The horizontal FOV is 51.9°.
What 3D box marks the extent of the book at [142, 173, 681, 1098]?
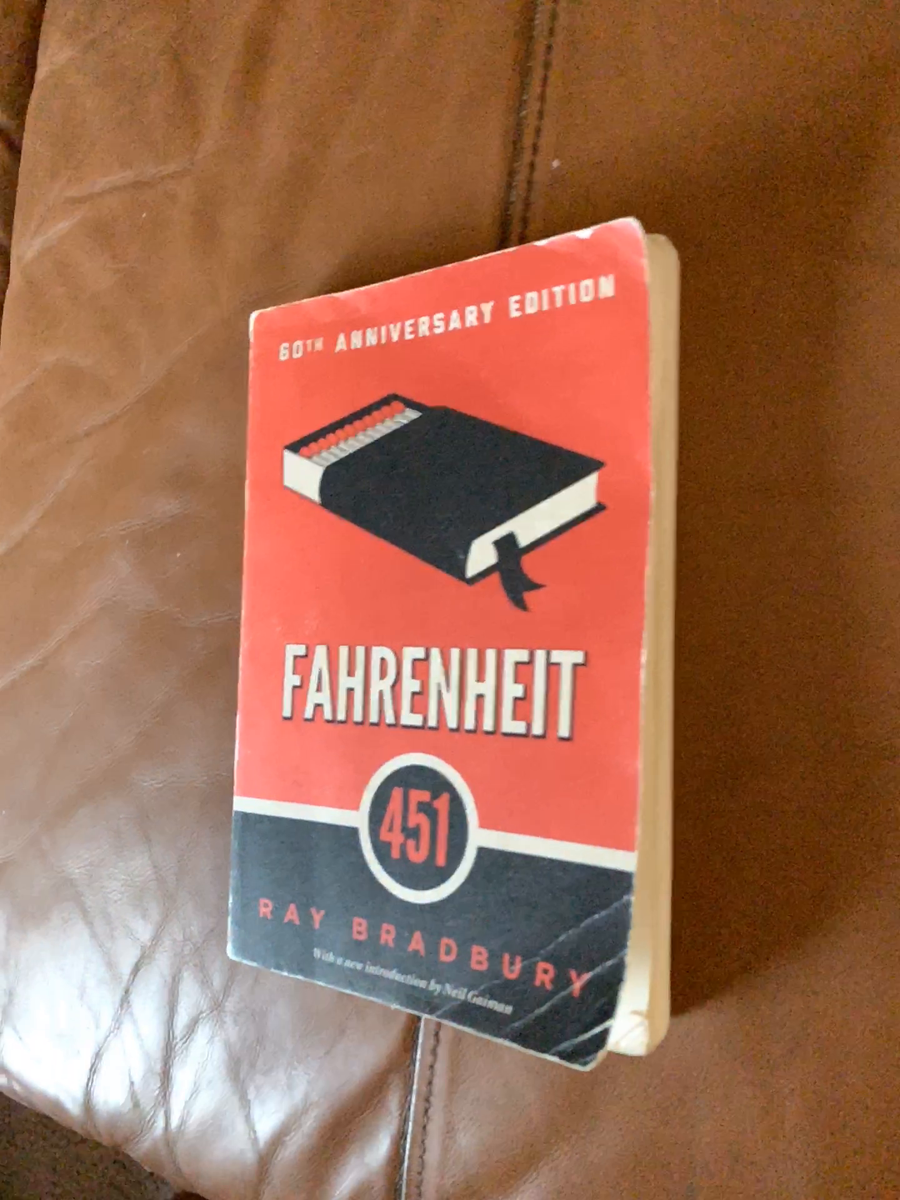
[{"bbox_3d":[-0.013,0.007,0.271,0.150,0.040,0.220,-1,84,27],"label":"book"}]
